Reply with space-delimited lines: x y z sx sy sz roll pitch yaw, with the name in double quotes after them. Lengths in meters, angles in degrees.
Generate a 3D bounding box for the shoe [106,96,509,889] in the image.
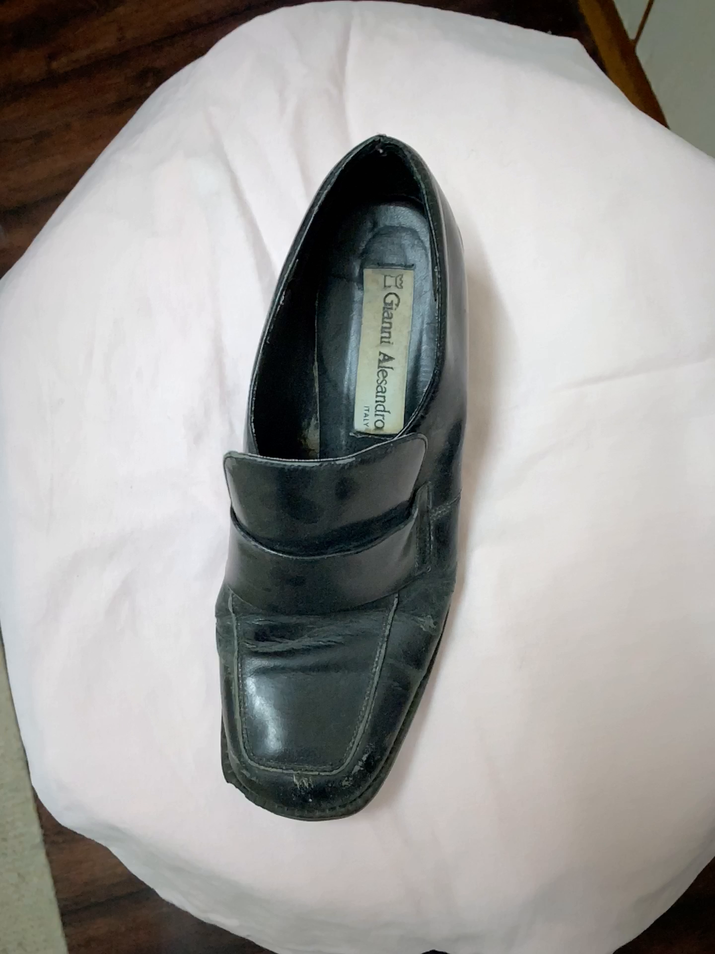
-0.008 0.000 0.276 0.090 0.092 0.240 8 82 6 "shoe"
